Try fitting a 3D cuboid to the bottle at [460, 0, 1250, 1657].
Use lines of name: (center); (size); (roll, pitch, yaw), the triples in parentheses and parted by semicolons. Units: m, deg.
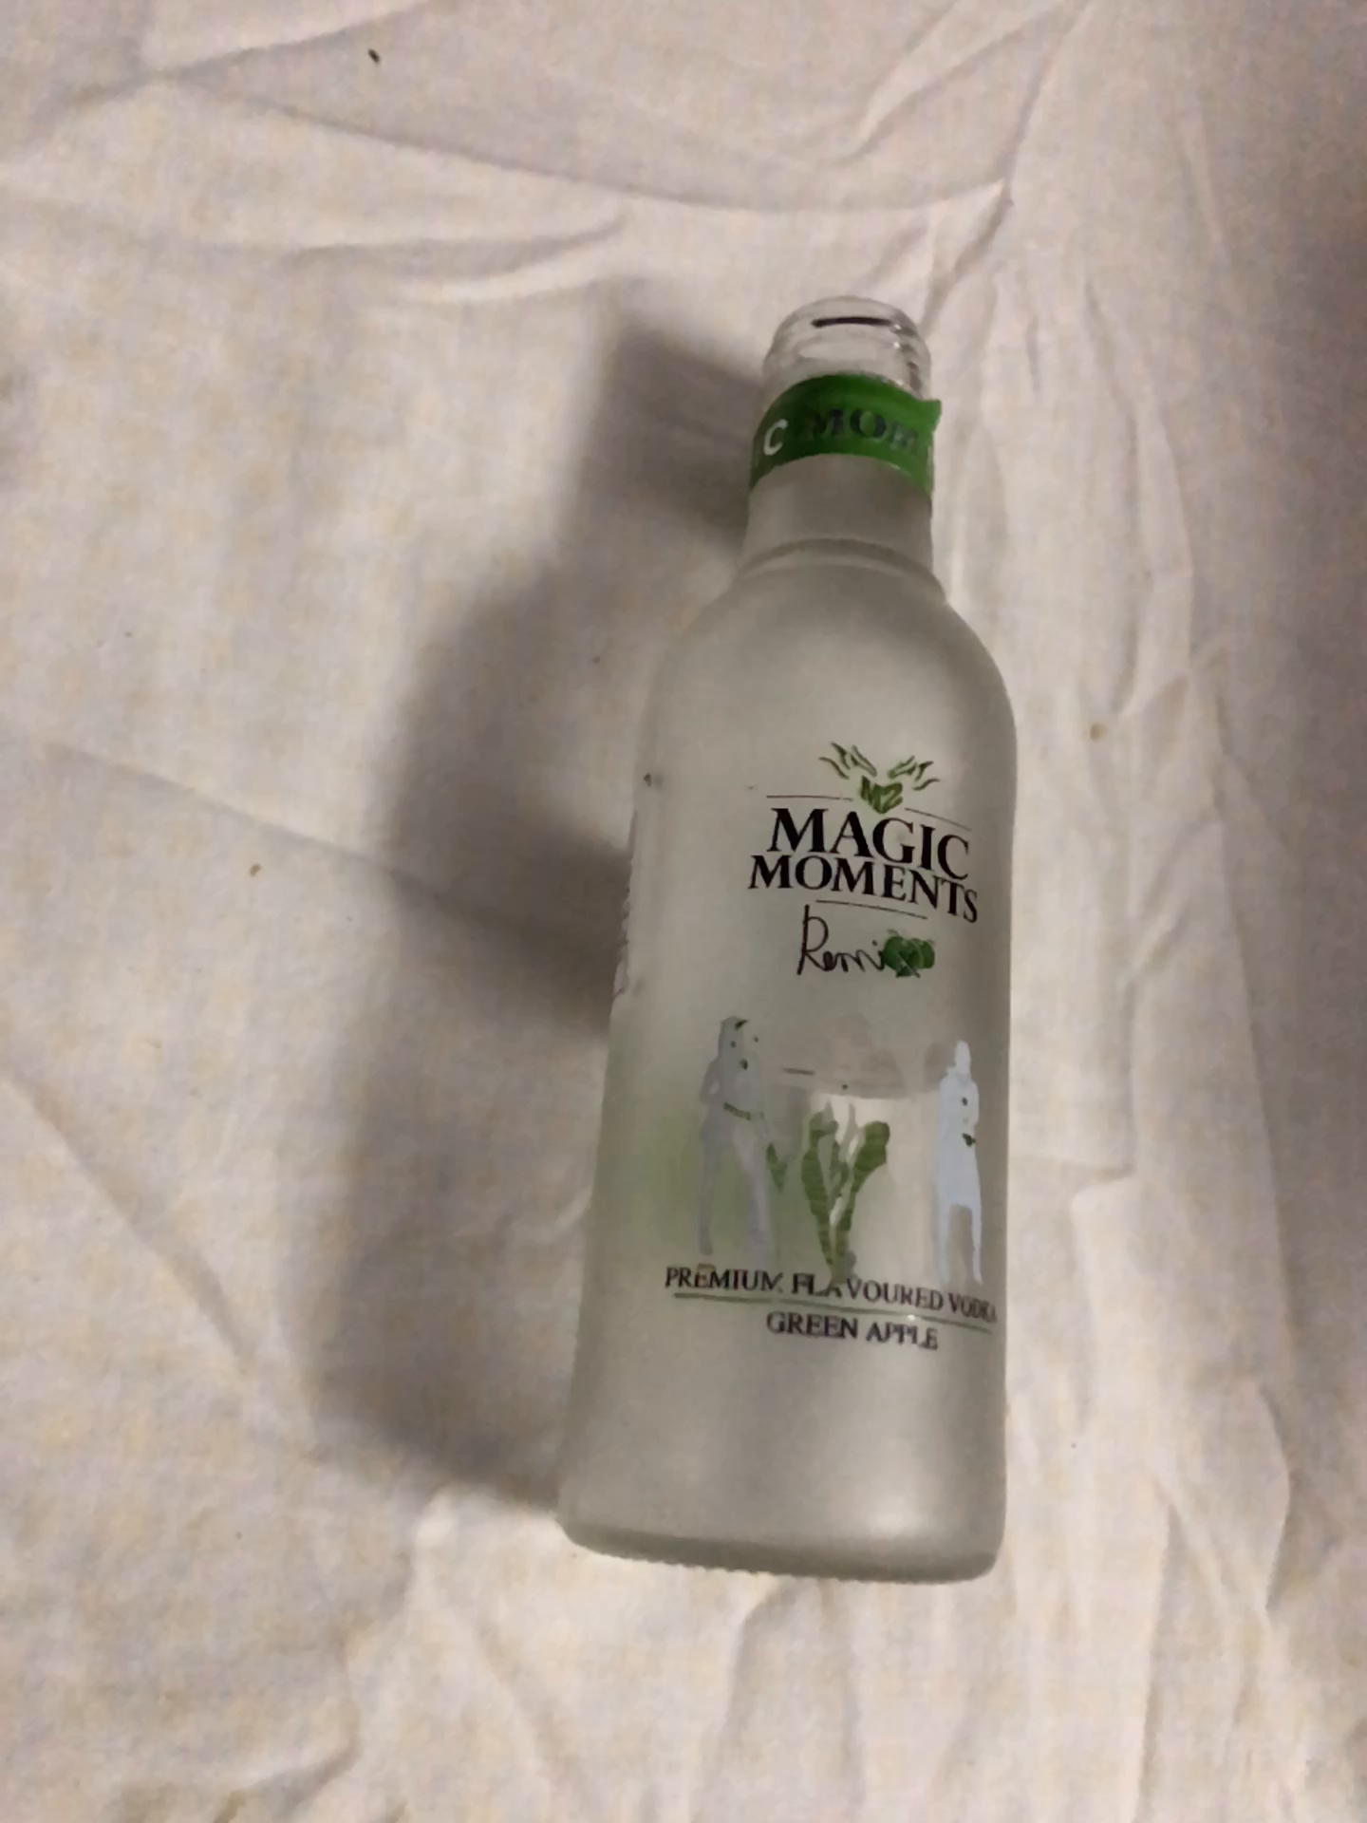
bottle: (0.023, -0.015, 0.187); (0.060, 0.060, 0.180); (12, 74, -20)
